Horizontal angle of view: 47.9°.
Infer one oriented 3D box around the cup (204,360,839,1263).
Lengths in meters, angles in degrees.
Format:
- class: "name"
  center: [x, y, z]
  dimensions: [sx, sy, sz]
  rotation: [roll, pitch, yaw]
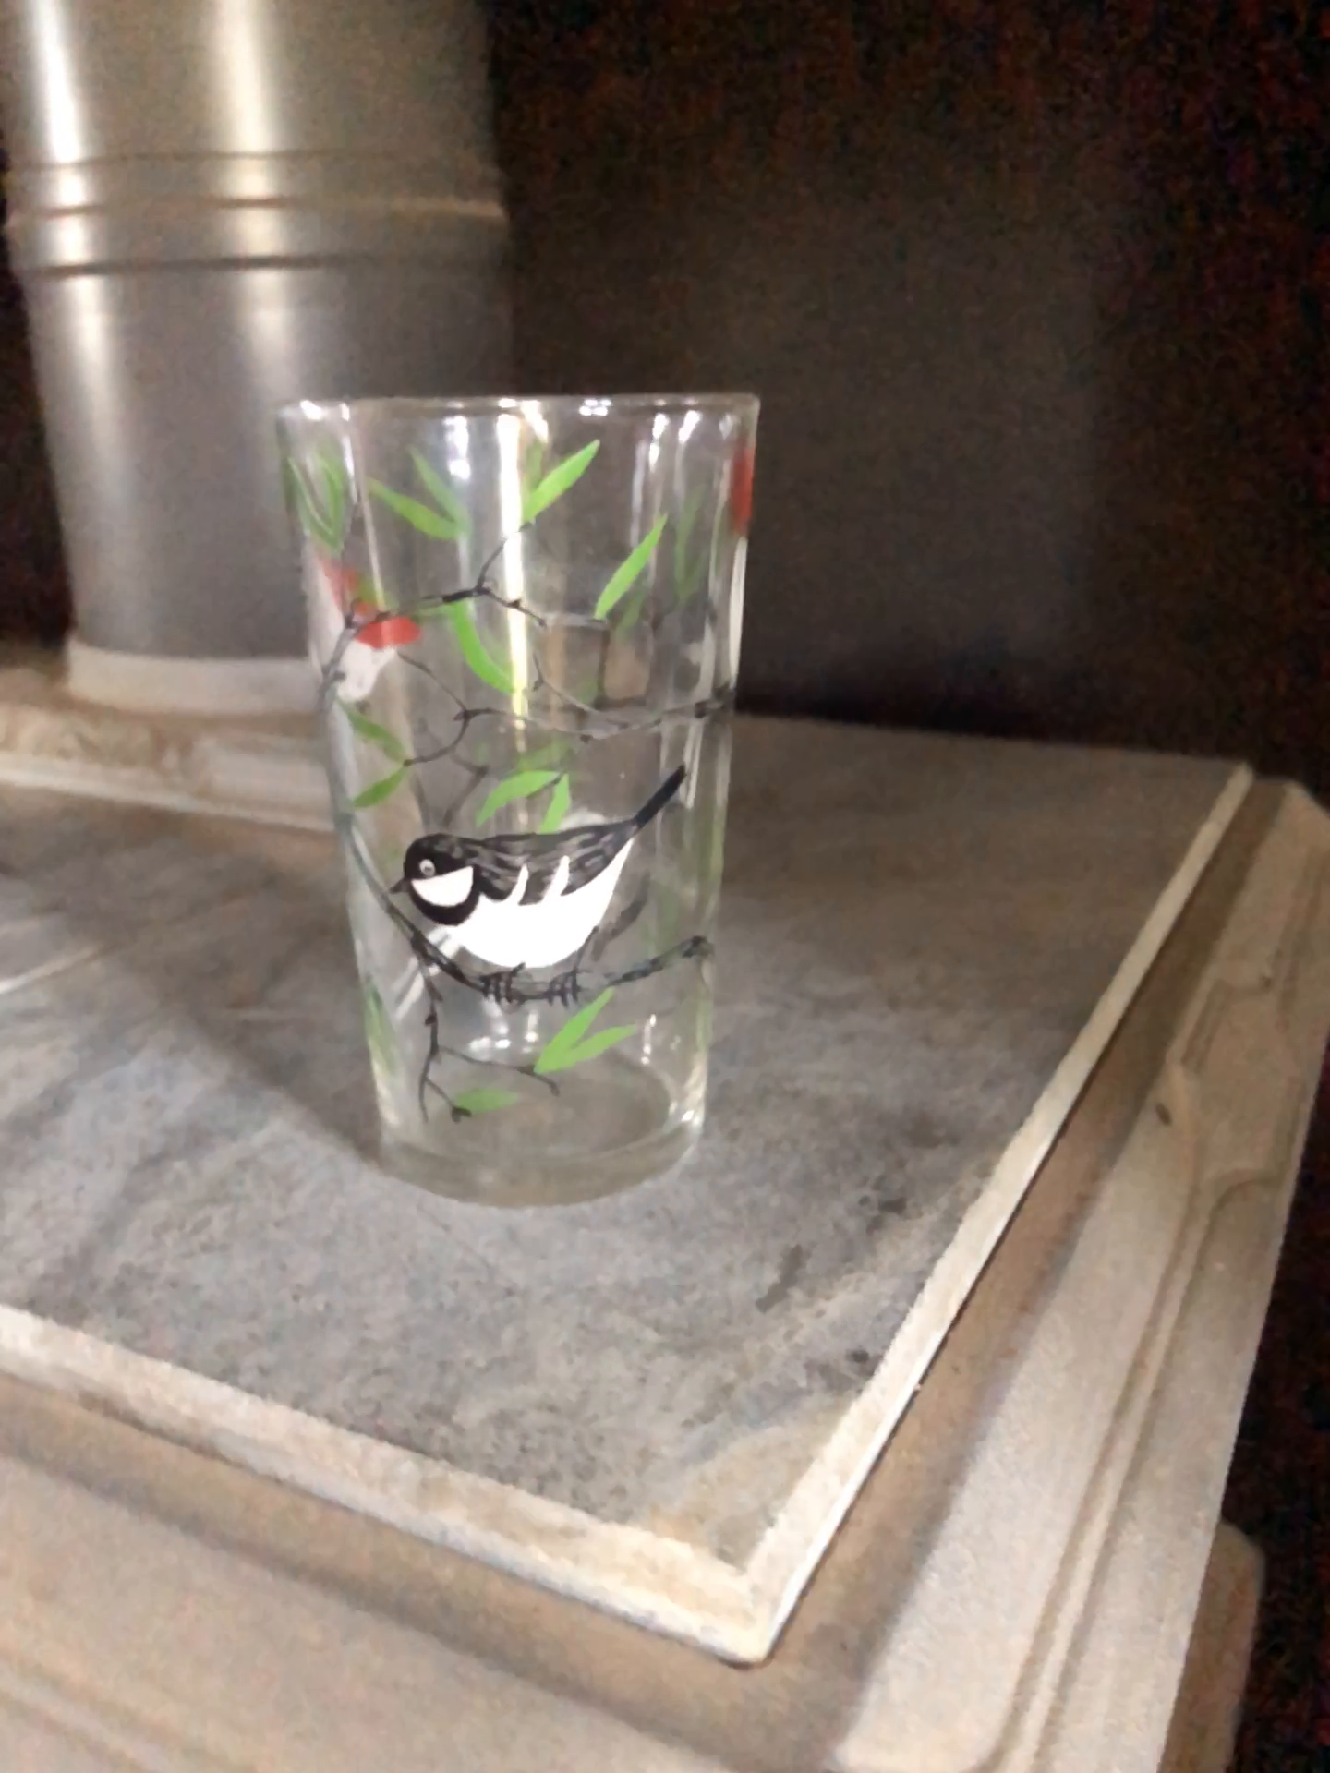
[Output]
- class: "cup"
  center: [-0.021, -0.018, 0.220]
  dimensions: [0.060, 0.110, 0.070]
  rotation: [-12, 21, -32]
